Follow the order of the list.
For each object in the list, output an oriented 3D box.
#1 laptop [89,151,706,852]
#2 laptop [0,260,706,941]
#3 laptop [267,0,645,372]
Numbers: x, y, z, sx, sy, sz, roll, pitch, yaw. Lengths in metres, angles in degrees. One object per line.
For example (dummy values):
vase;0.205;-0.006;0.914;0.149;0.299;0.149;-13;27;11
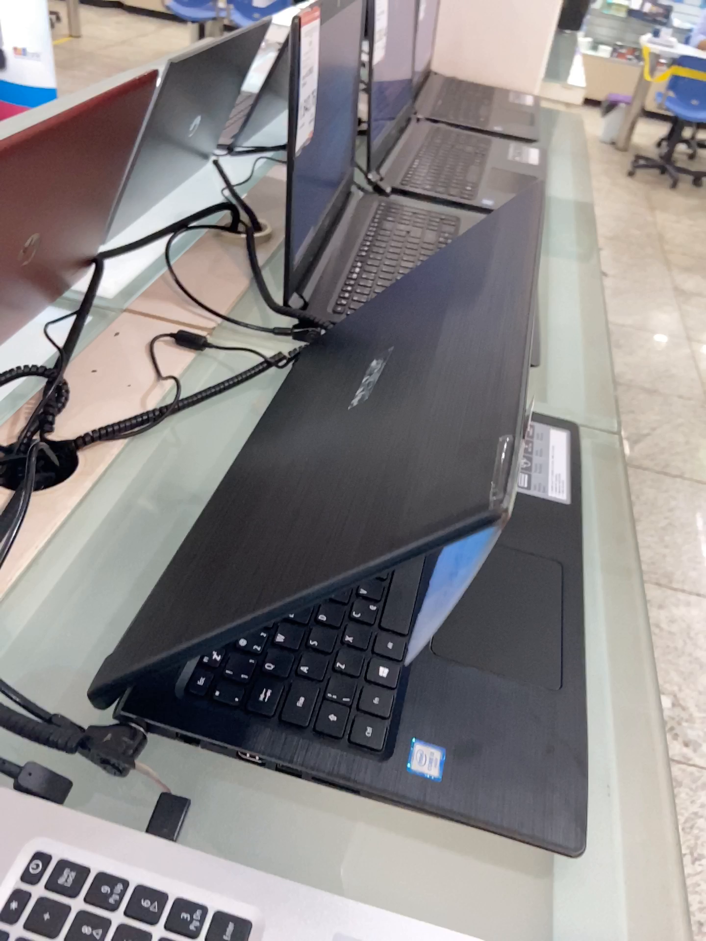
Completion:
laptop;0.054;-0.029;0.448;0.233;0.186;0.376;15;39;6
laptop;-0.115;0.192;0.098;0.301;0.233;0.398;15;40;6
laptop;0.095;-0.355;0.808;0.284;0.245;0.433;12;38;2
